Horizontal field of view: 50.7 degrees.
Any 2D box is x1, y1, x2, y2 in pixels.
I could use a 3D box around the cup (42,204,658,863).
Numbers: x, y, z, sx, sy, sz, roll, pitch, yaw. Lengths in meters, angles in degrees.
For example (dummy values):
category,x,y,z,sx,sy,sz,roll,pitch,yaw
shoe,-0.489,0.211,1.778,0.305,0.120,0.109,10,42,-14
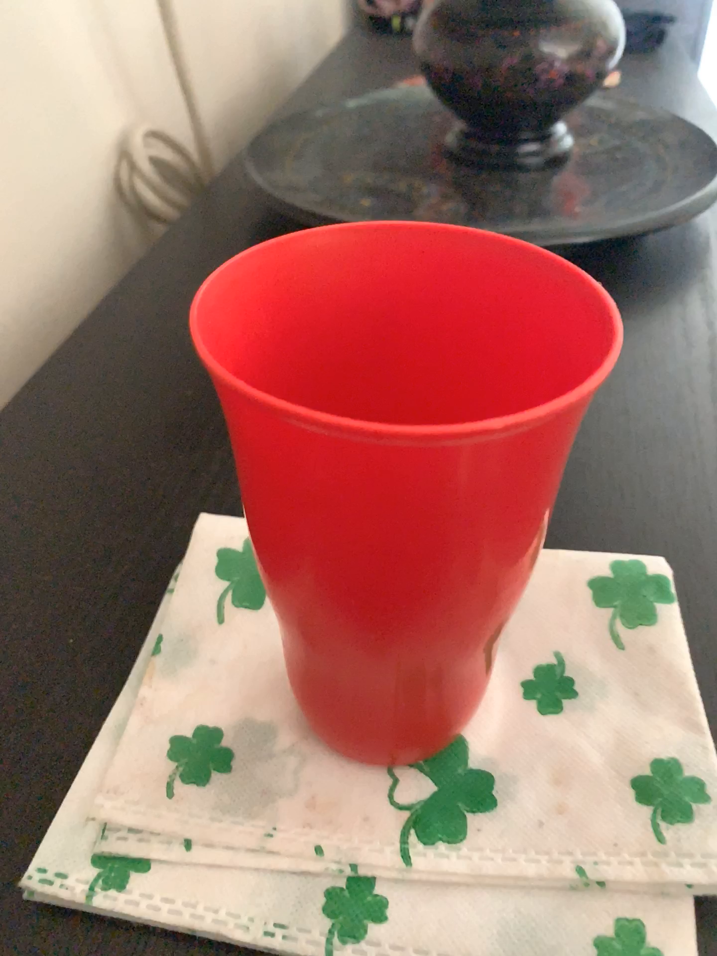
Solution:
category,x,y,z,sx,sy,sz,roll,pitch,yaw
cup,0.006,0.006,0.160,0.082,0.091,0.080,-1,39,1
